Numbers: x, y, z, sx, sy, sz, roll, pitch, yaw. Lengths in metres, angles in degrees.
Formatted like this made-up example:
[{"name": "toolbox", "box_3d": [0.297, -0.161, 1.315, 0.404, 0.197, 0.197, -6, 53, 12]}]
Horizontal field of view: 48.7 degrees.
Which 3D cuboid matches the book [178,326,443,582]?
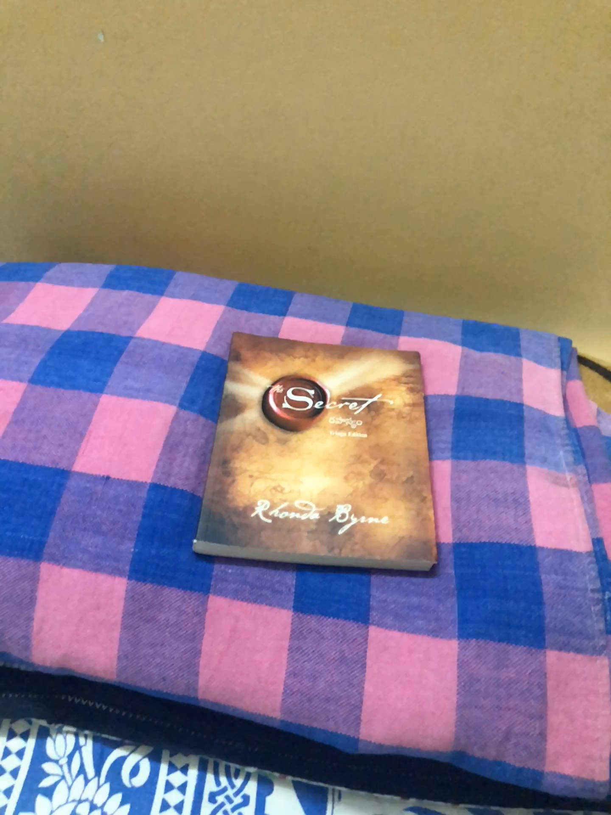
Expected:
[{"name": "book", "box_3d": [0.009, 0.020, 0.453, 0.150, 0.020, 0.191, 4, 48, 2]}]
